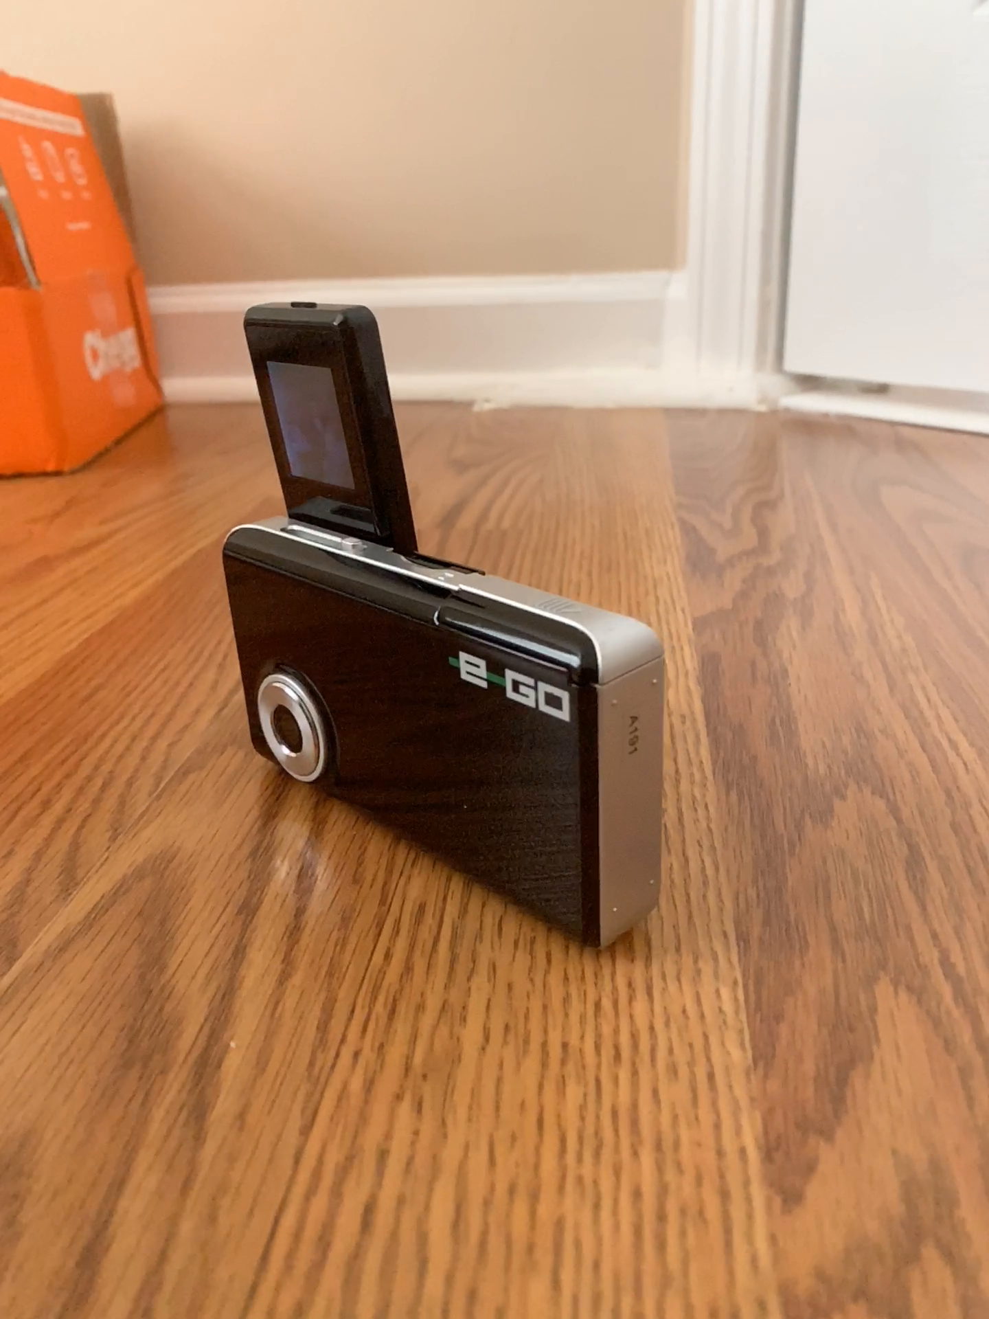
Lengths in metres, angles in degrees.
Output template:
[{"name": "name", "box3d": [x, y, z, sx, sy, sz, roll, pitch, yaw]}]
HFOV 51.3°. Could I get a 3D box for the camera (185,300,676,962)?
[{"name": "camera", "box3d": [-0.018, -0.015, 0.215, 0.022, 0.111, 0.119, -21, 29, -39]}]
